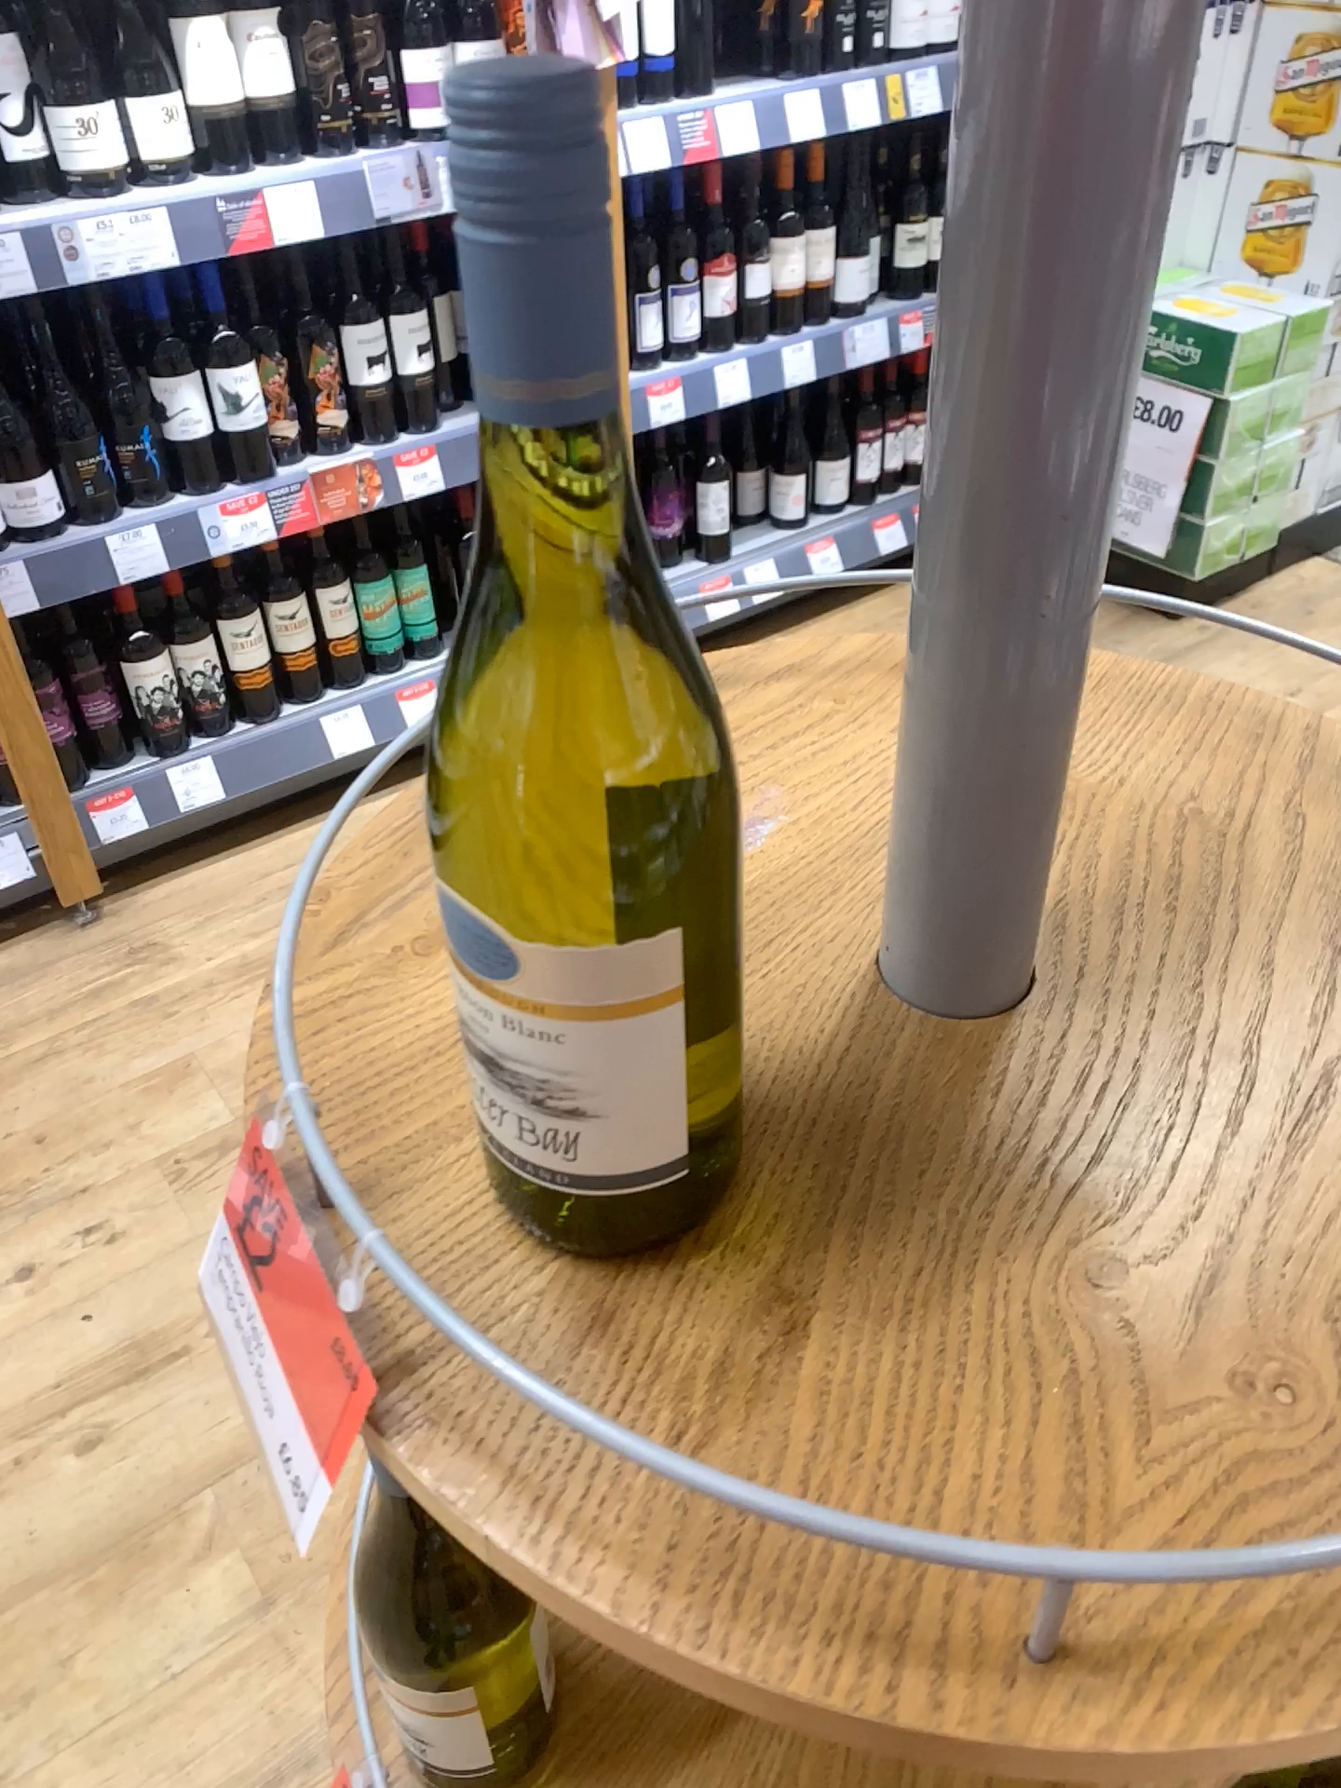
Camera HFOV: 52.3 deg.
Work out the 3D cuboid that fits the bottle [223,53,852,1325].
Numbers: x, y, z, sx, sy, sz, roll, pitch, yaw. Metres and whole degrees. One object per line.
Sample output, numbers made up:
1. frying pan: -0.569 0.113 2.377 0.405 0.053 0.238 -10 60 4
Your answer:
1. bottle: -0.021 -0.030 0.330 0.080 0.284 0.080 -1 38 1
